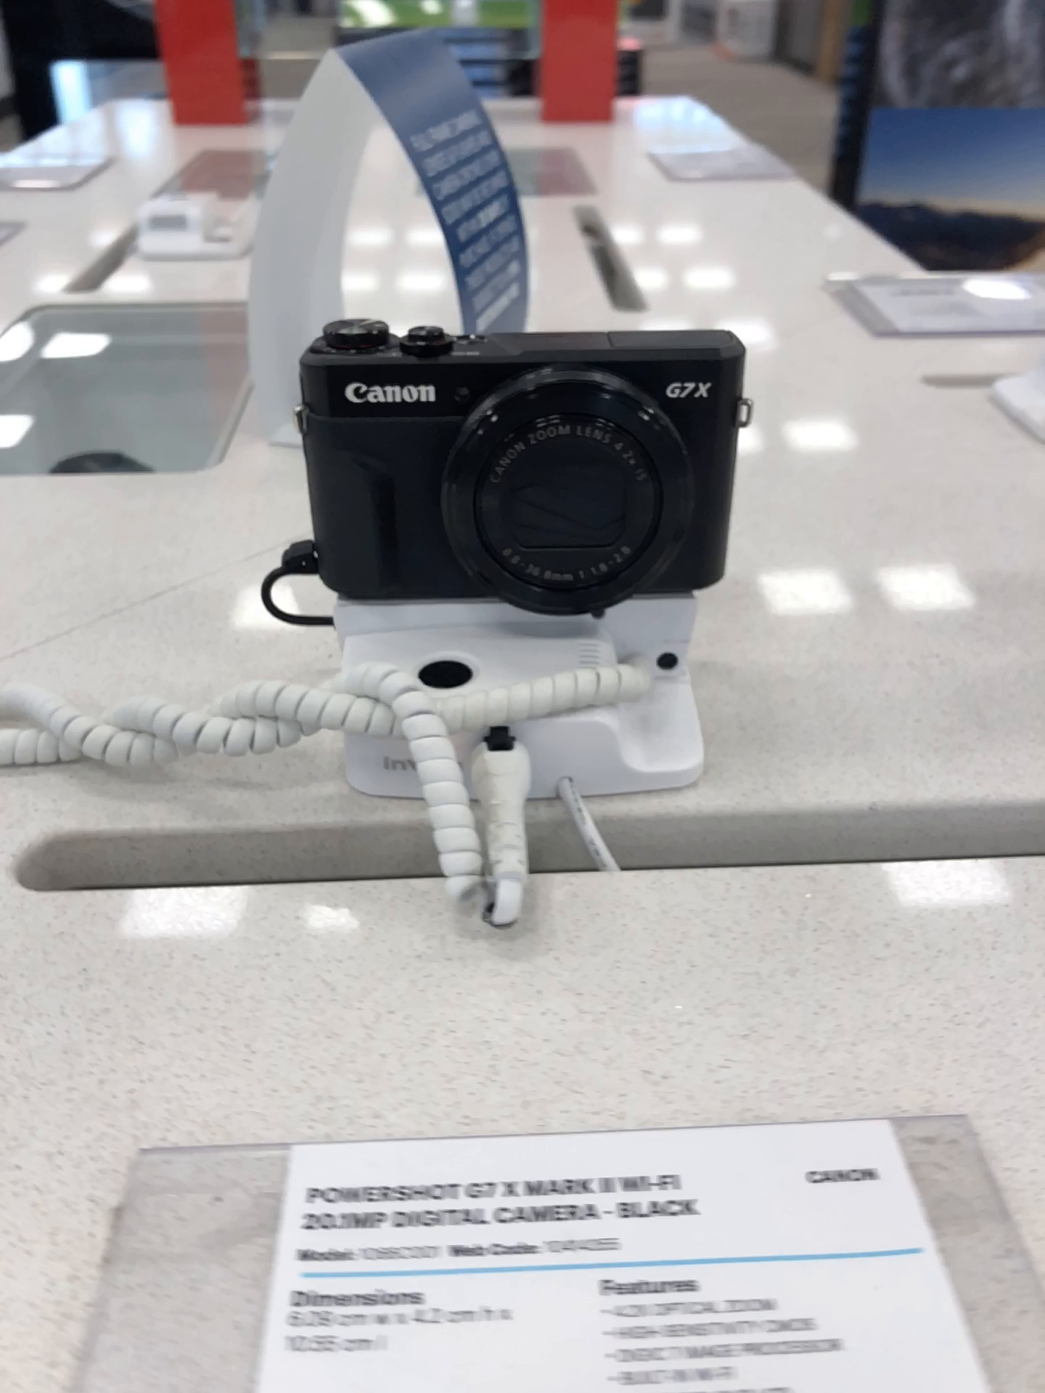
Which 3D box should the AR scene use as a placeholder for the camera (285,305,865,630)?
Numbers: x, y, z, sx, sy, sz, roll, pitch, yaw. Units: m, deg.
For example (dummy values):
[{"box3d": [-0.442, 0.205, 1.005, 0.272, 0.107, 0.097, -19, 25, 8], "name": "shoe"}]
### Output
[{"box3d": [0.011, -0.055, 0.280, 0.120, 0.060, 0.050, -1, 33, -1], "name": "camera"}]
